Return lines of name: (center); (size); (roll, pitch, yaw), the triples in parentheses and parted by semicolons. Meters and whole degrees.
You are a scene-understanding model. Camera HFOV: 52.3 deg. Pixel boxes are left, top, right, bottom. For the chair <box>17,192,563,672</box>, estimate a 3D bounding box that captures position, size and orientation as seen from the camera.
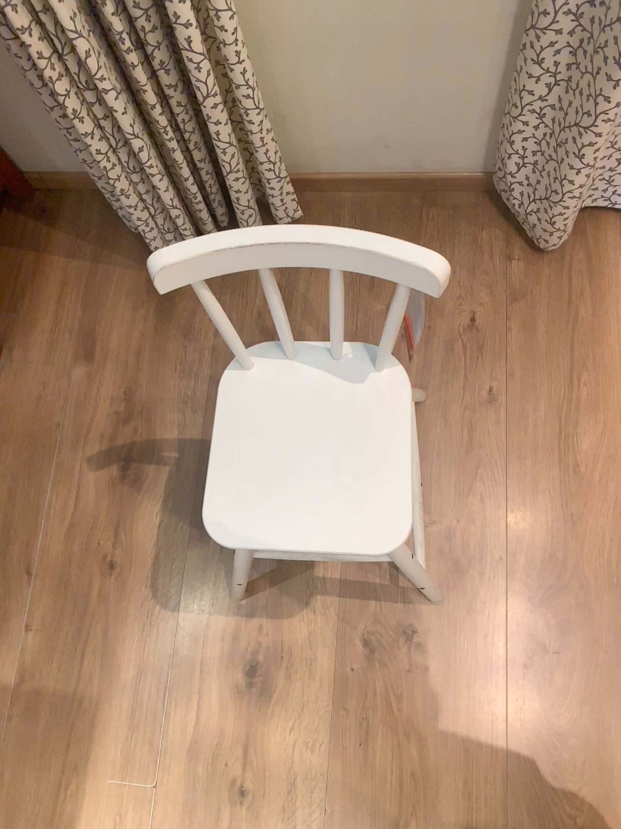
chair: (0.013, 0.084, 0.885); (0.450, 0.650, 0.430); (0, 74, 7)
